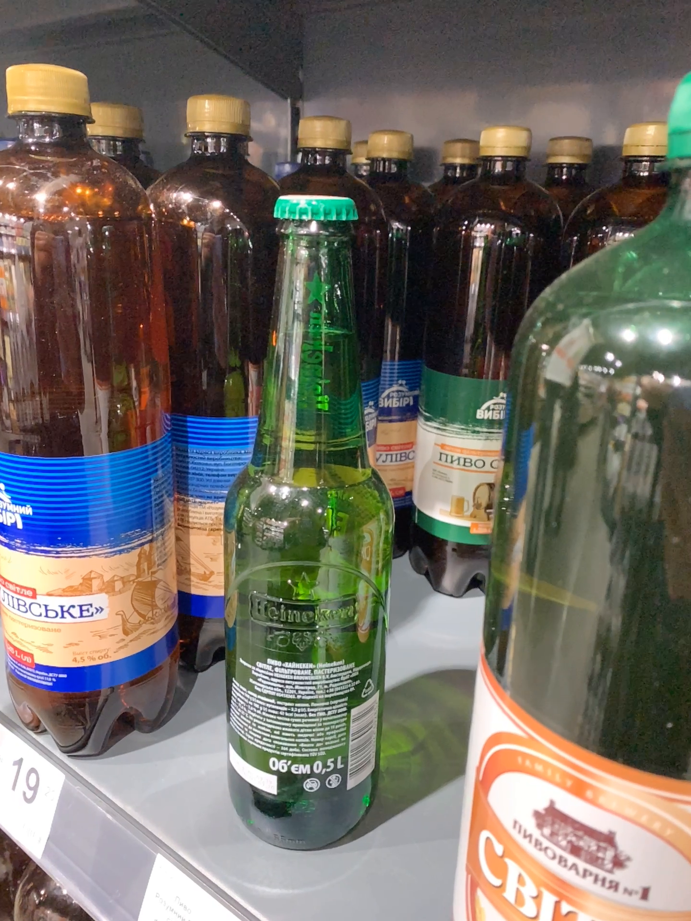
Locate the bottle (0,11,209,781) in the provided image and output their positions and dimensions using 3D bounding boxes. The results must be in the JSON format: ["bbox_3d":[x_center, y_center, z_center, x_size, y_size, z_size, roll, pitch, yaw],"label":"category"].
[{"bbox_3d":[-0.120,-0.017,0.311,0.080,0.288,0.074,1,19,-1],"label":"bottle"}]

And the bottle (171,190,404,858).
[{"bbox_3d":[-0.018,0.029,0.278,0.066,0.248,0.062,1,19,-1],"label":"bottle"}]
